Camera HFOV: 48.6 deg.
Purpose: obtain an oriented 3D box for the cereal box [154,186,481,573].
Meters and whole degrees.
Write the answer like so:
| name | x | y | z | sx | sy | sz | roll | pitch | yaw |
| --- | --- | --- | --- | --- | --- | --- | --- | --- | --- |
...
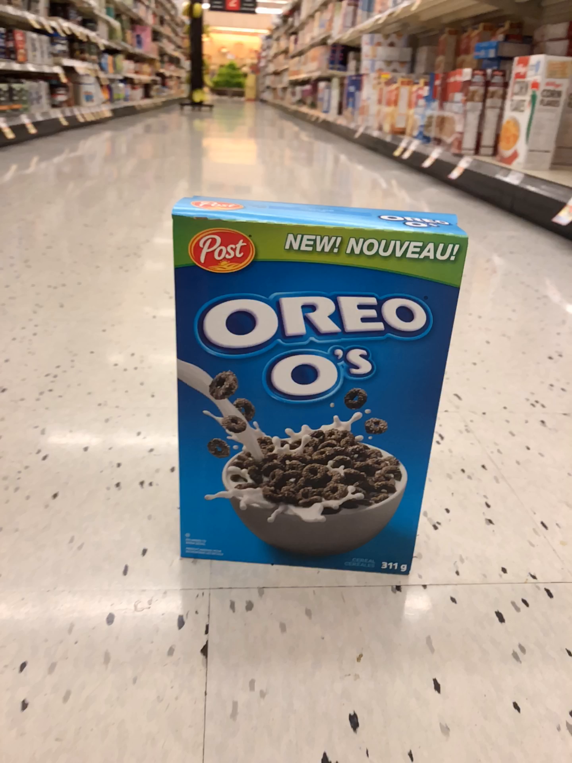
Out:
| name | x | y | z | sx | sy | sz | roll | pitch | yaw |
| --- | --- | --- | --- | --- | --- | --- | --- | --- | --- |
| cereal box | 0.012 | 0.006 | 0.467 | 0.200 | 0.268 | 0.060 | 4 | 24 | 2 |
